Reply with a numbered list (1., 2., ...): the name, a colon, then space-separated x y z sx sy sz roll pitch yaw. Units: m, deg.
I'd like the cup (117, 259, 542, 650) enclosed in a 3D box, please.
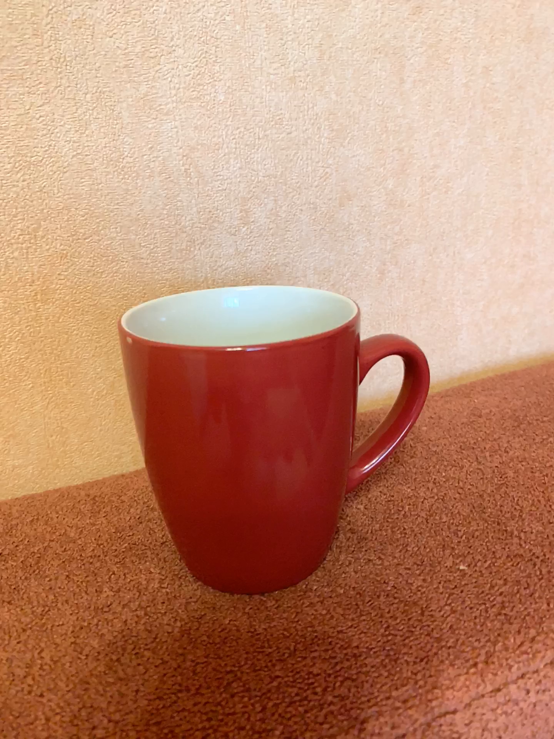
1. cup: 0.014 0.019 0.213 0.121 0.091 0.083 -10 23 -17
